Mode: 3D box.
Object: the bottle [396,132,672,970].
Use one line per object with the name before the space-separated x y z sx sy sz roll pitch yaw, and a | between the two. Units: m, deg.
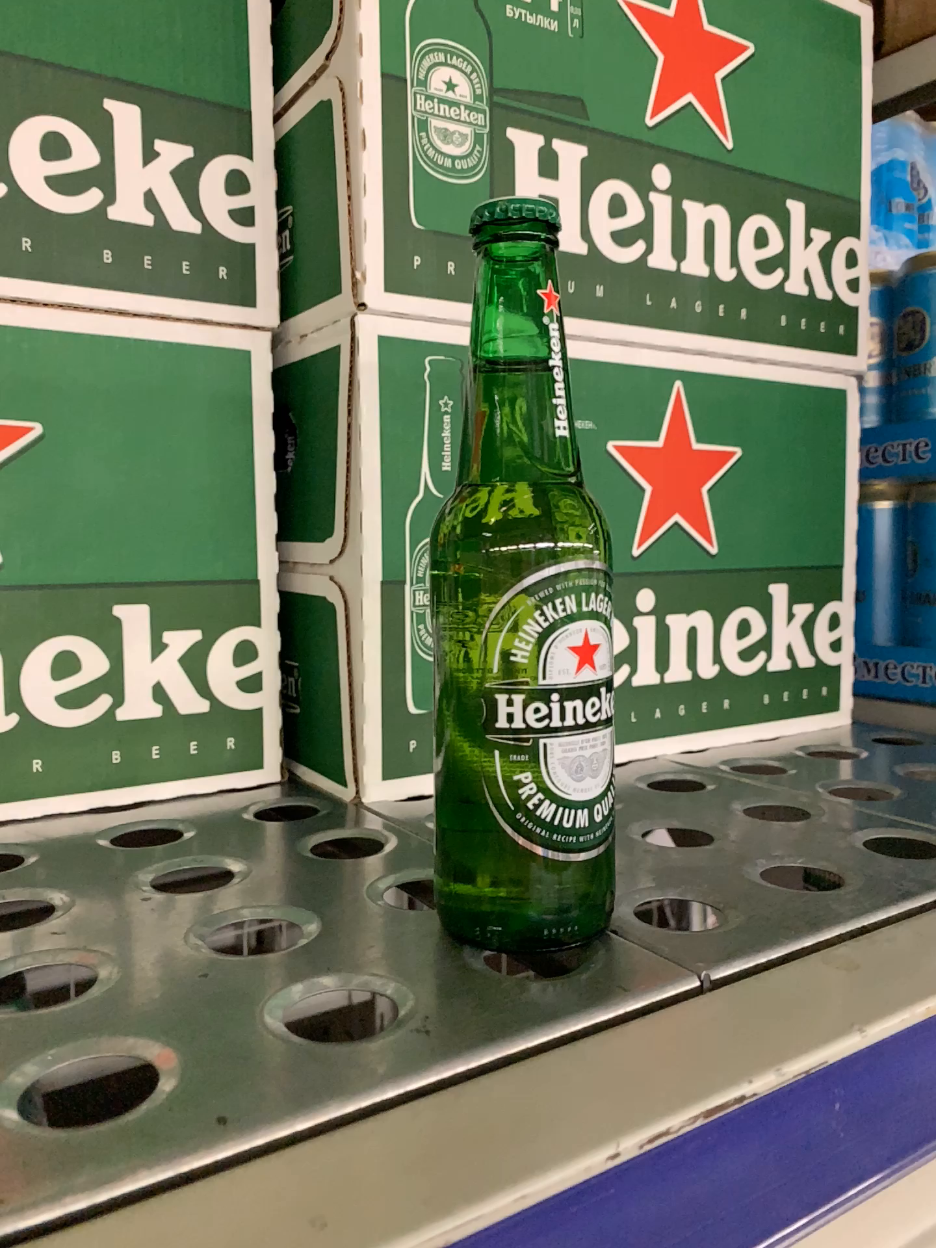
bottle | 0.019 -0.020 0.303 0.060 0.226 0.060 0 4 0
